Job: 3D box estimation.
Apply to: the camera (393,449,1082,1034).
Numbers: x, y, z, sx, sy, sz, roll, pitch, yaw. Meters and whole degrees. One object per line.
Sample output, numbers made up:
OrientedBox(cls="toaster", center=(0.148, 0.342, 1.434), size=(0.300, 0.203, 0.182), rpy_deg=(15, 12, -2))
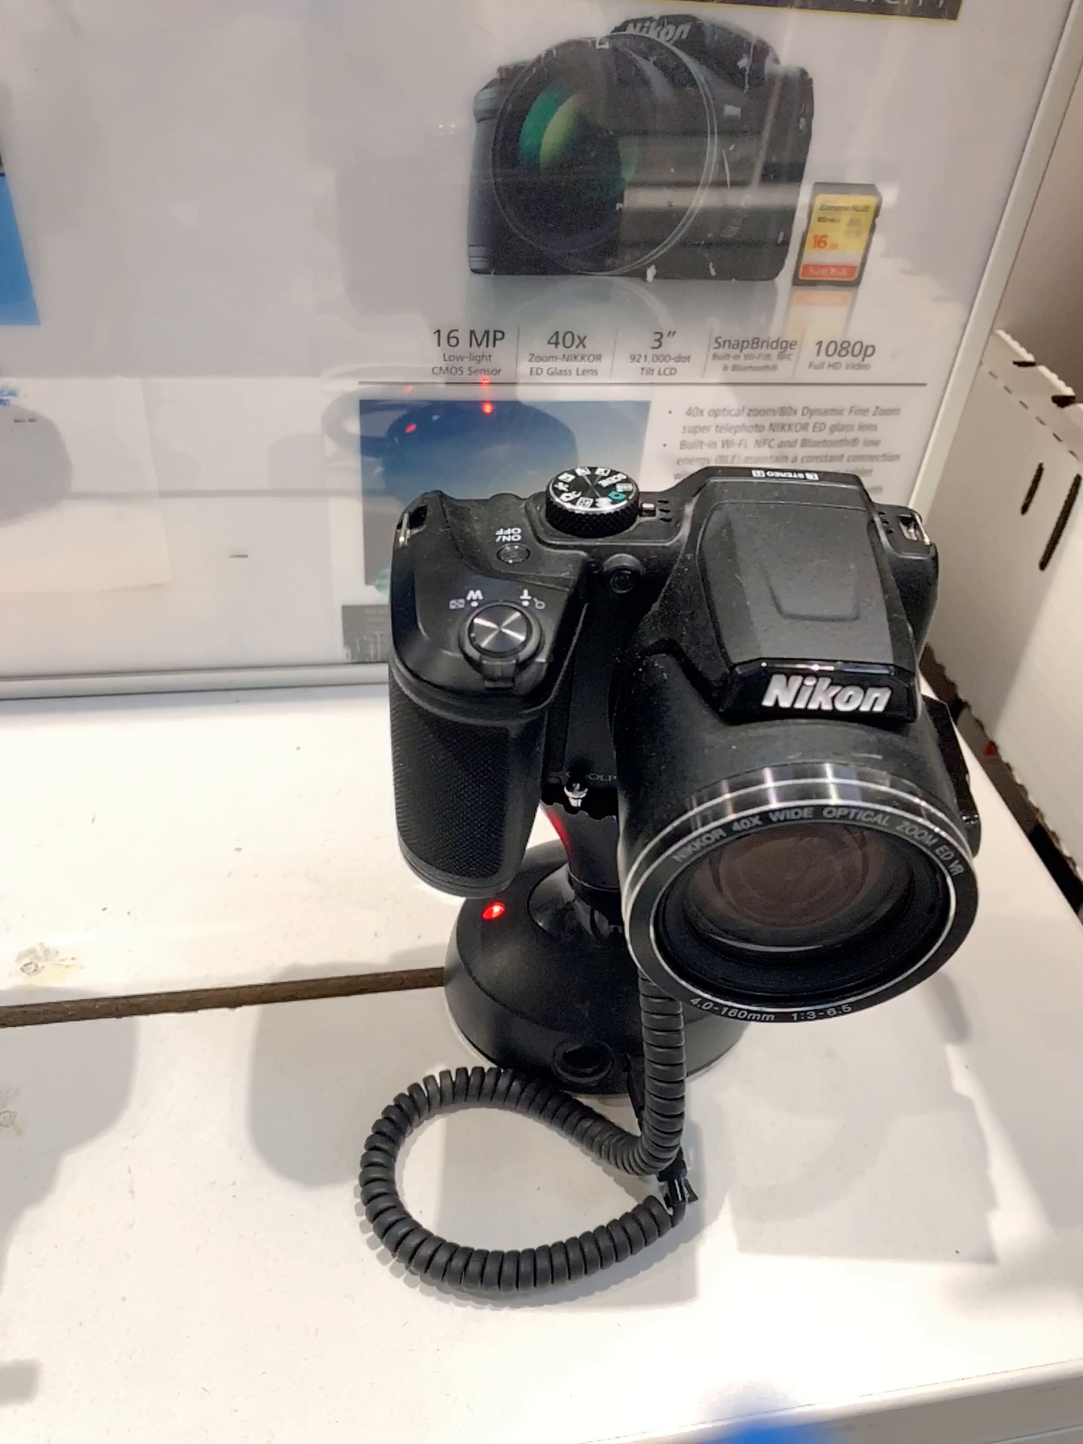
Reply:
OrientedBox(cls="camera", center=(0.029, 0.006, 0.212), size=(0.110, 0.089, 0.061), rpy_deg=(1, 41, -6))
